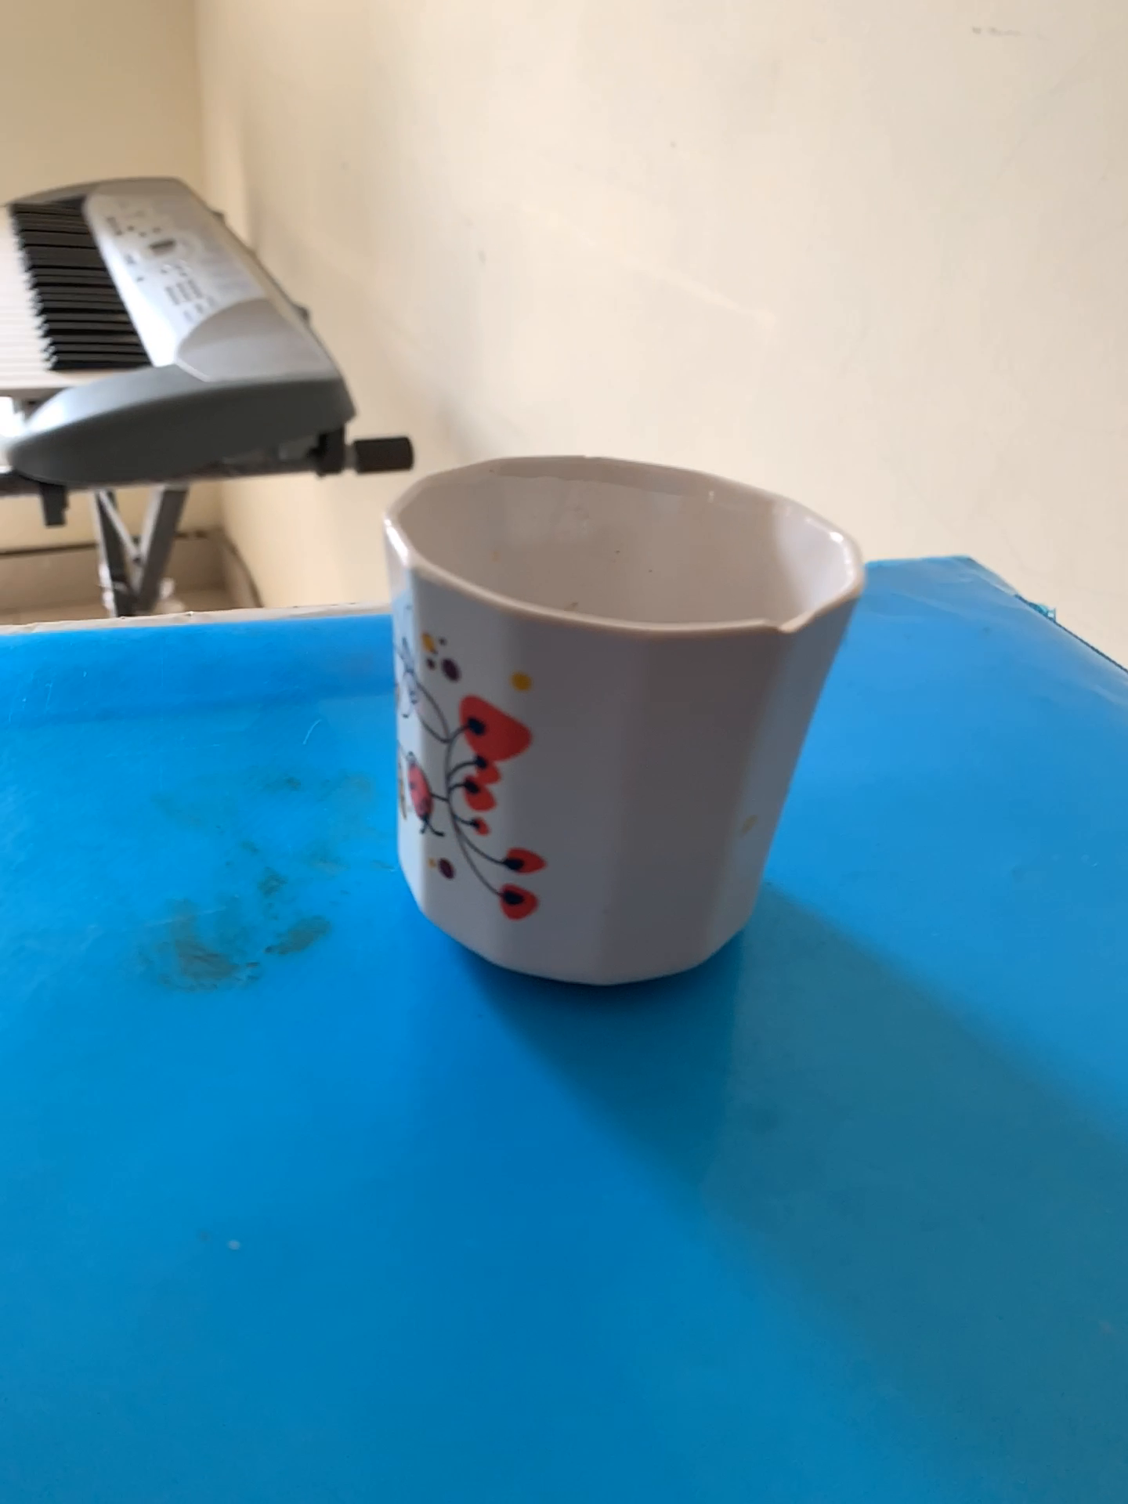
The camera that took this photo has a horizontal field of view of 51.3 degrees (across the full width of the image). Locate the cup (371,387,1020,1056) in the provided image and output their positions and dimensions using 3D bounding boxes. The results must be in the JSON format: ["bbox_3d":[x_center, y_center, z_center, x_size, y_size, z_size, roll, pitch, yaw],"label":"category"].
[{"bbox_3d":[0.008,-0.013,0.192,0.070,0.060,0.101,-1,34,-13],"label":"cup"}]
